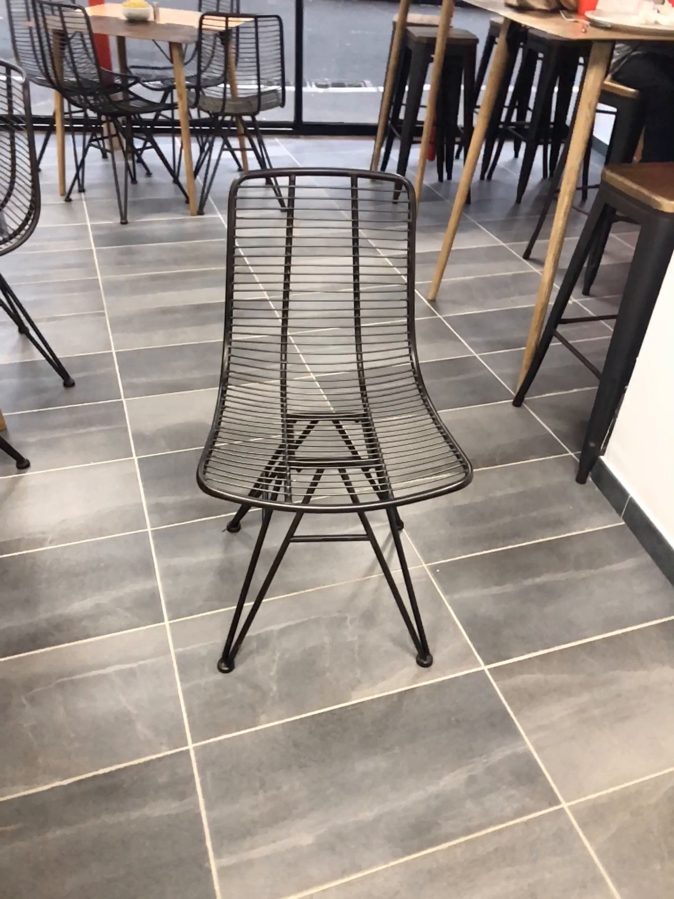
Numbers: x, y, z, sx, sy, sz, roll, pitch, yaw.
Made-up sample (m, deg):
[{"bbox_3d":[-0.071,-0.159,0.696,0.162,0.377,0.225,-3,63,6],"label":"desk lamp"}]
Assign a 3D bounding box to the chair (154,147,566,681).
[{"bbox_3d":[-0.005,-0.054,1.327,0.500,0.785,0.523,0,37,-5],"label":"chair"}]
